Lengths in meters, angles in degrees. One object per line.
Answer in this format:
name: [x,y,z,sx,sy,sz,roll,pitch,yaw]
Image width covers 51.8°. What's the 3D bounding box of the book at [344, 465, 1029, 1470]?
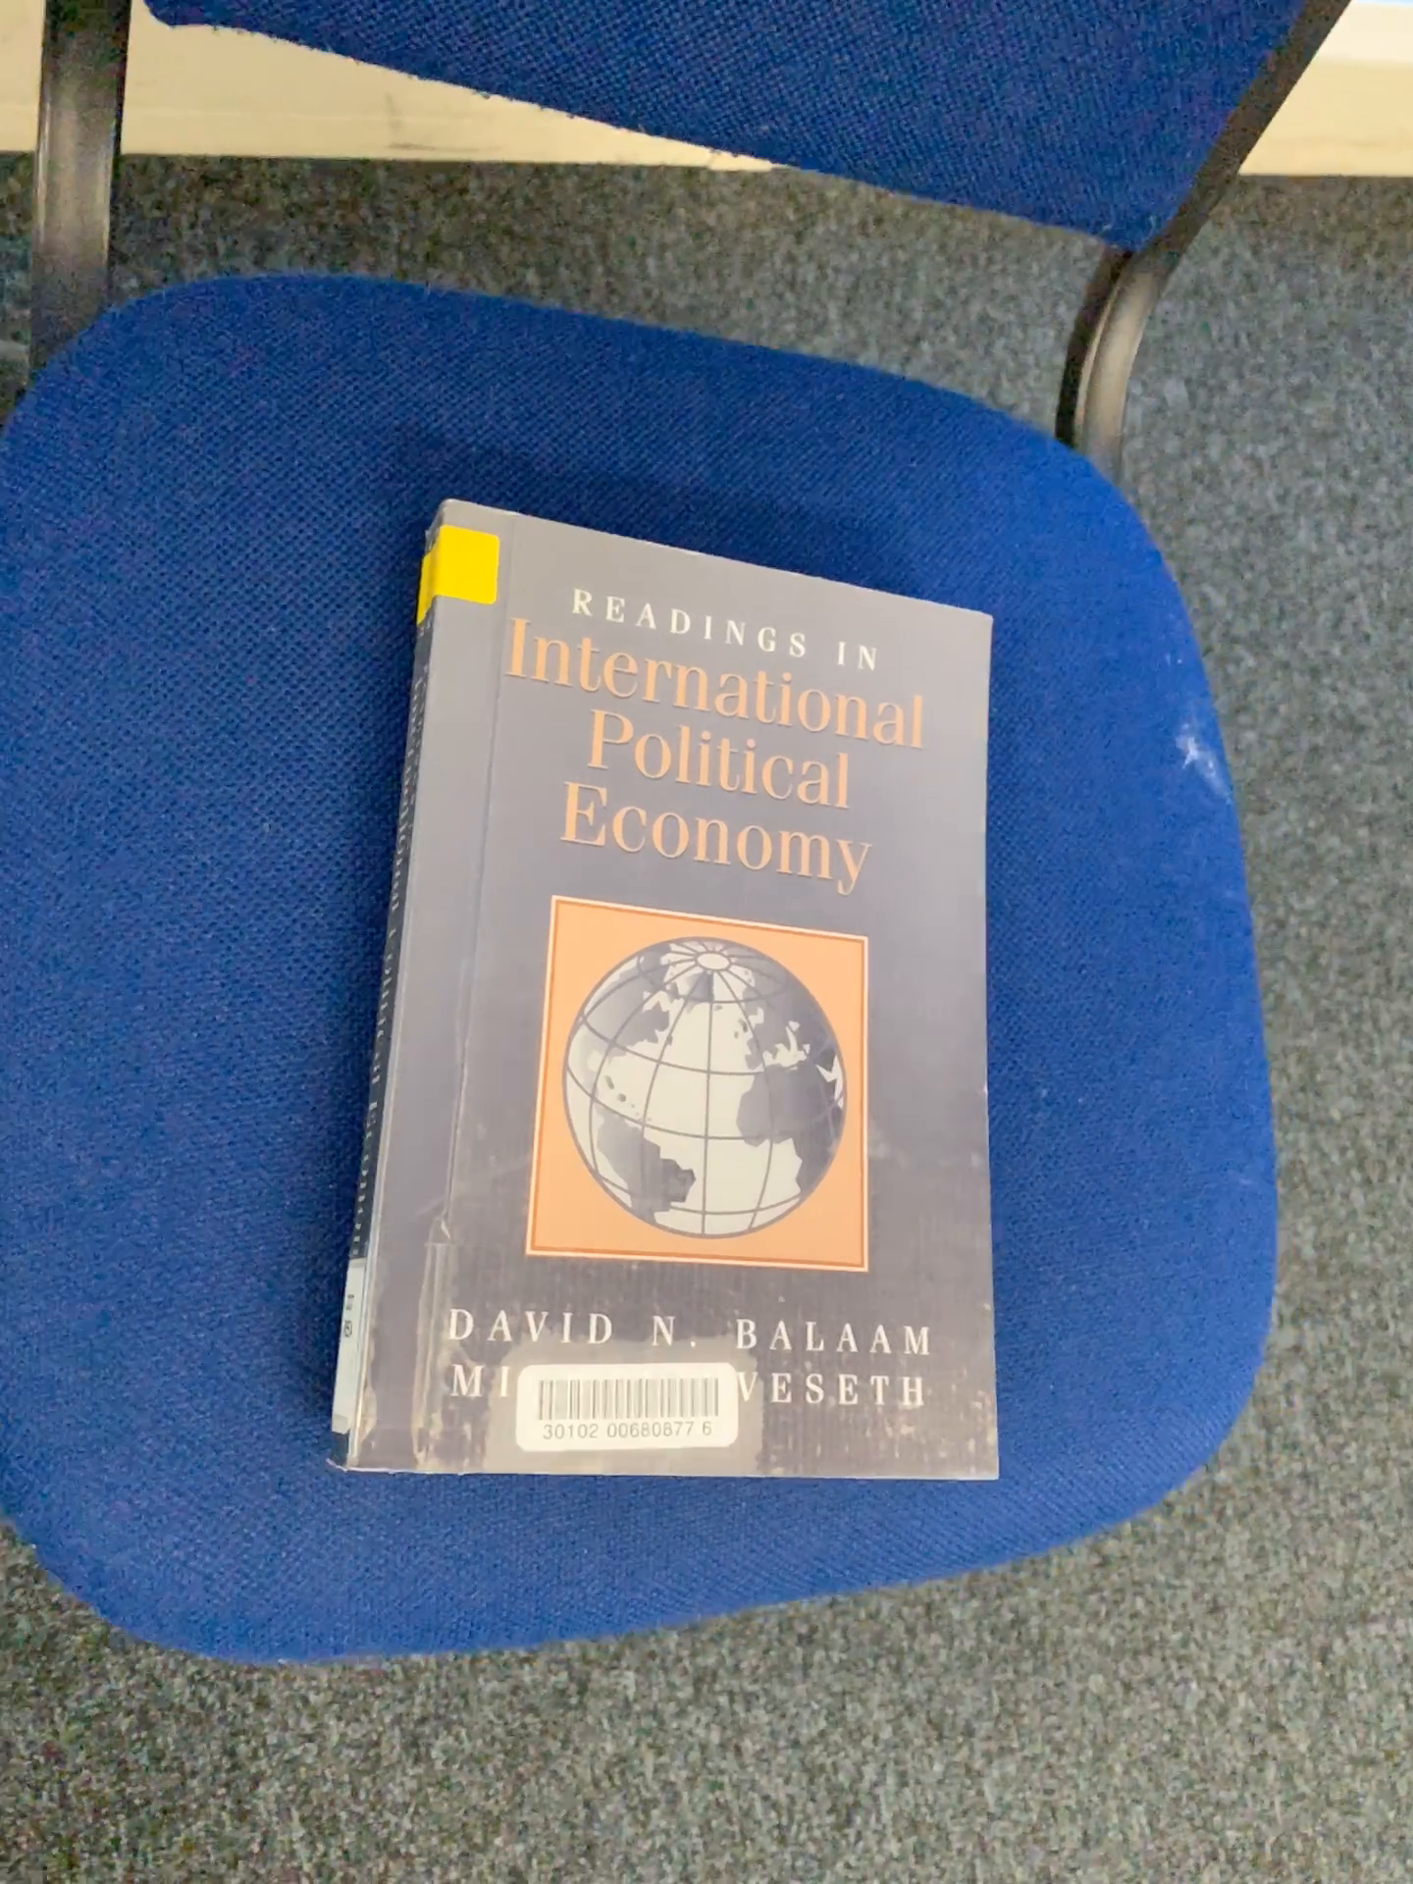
book: [0.002,0.008,0.349,0.150,0.030,0.220,7,74,-20]
